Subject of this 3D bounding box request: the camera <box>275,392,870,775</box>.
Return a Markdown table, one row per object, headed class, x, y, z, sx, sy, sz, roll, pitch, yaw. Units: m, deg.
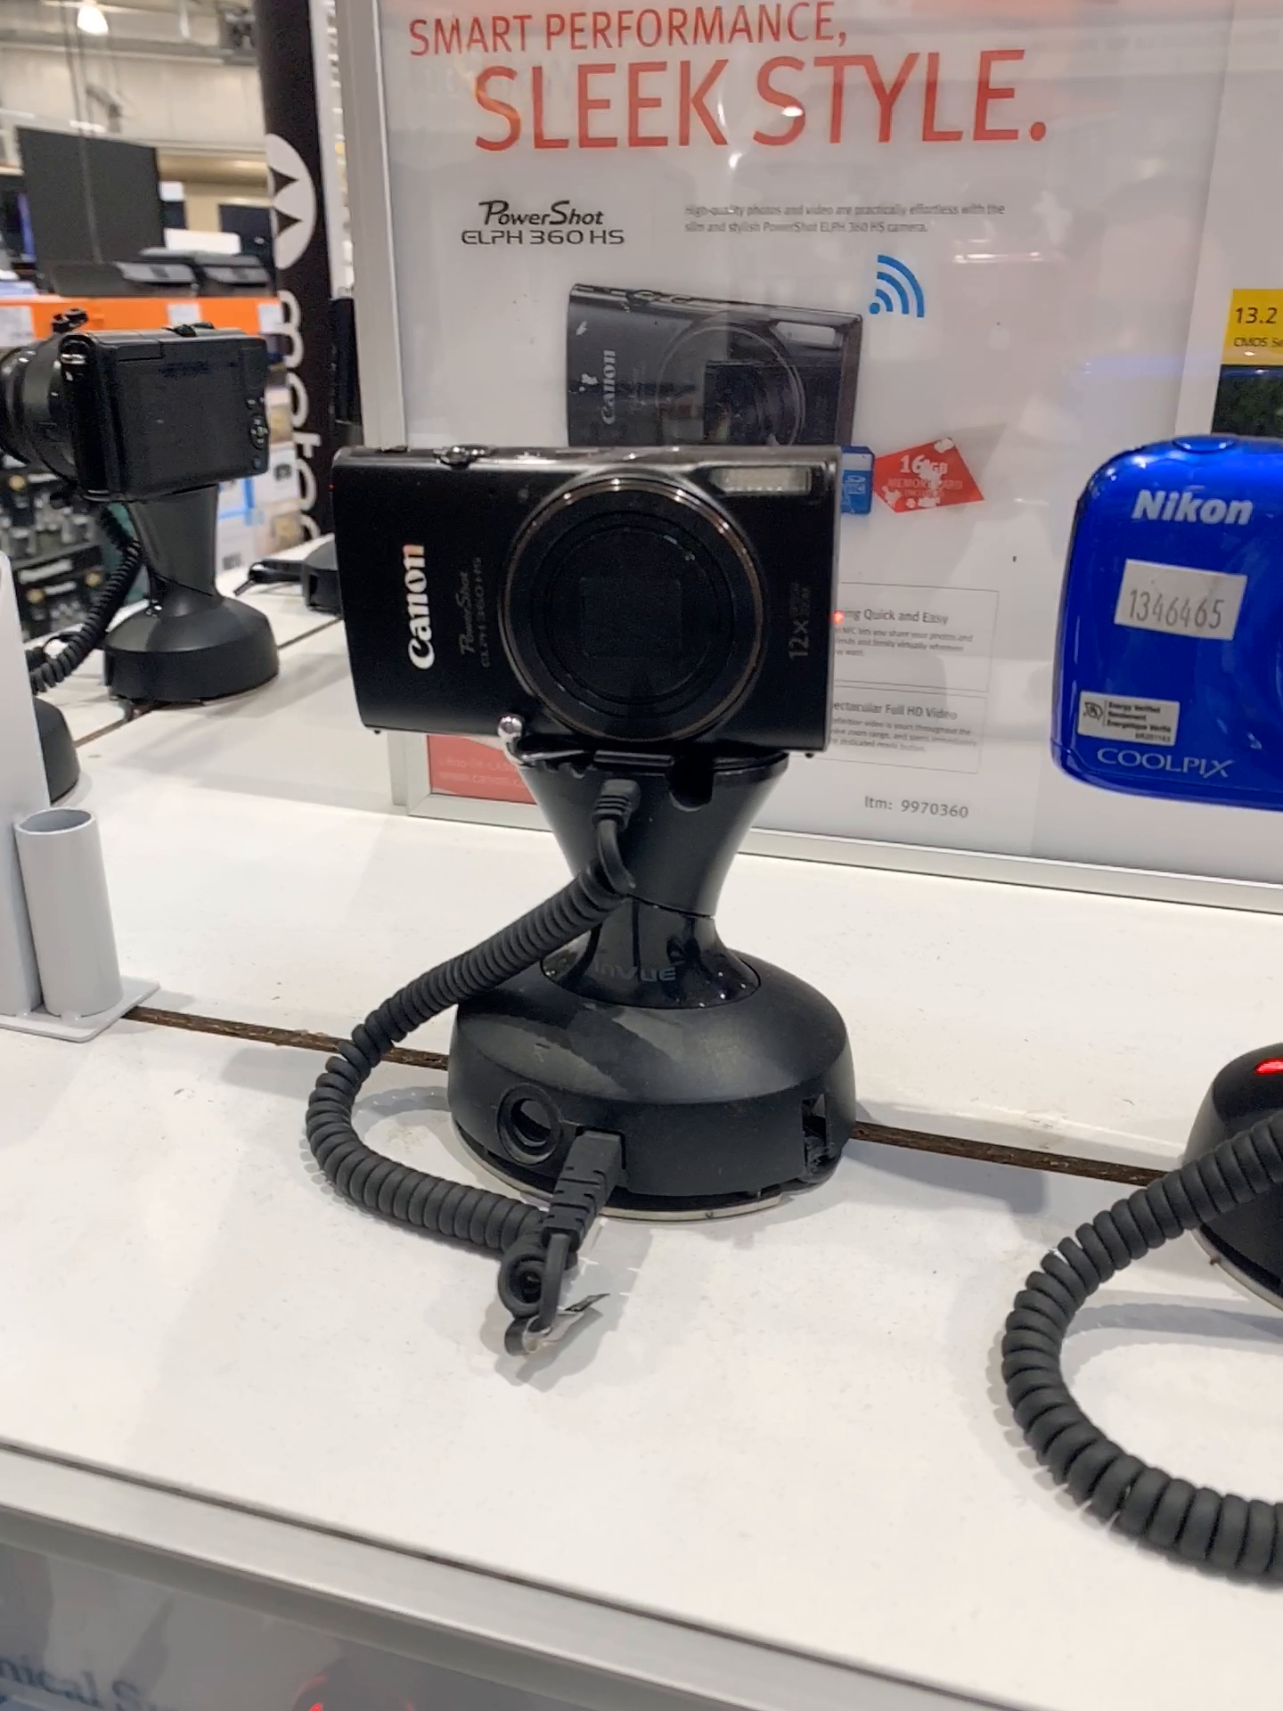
| class | x | y | z | sx | sy | sz | roll | pitch | yaw |
| --- | --- | --- | --- | --- | --- | --- | --- | --- | --- |
| camera | -0.010 | -0.053 | 0.249 | 0.100 | 0.060 | 0.040 | 4 | 23 | 10 |
